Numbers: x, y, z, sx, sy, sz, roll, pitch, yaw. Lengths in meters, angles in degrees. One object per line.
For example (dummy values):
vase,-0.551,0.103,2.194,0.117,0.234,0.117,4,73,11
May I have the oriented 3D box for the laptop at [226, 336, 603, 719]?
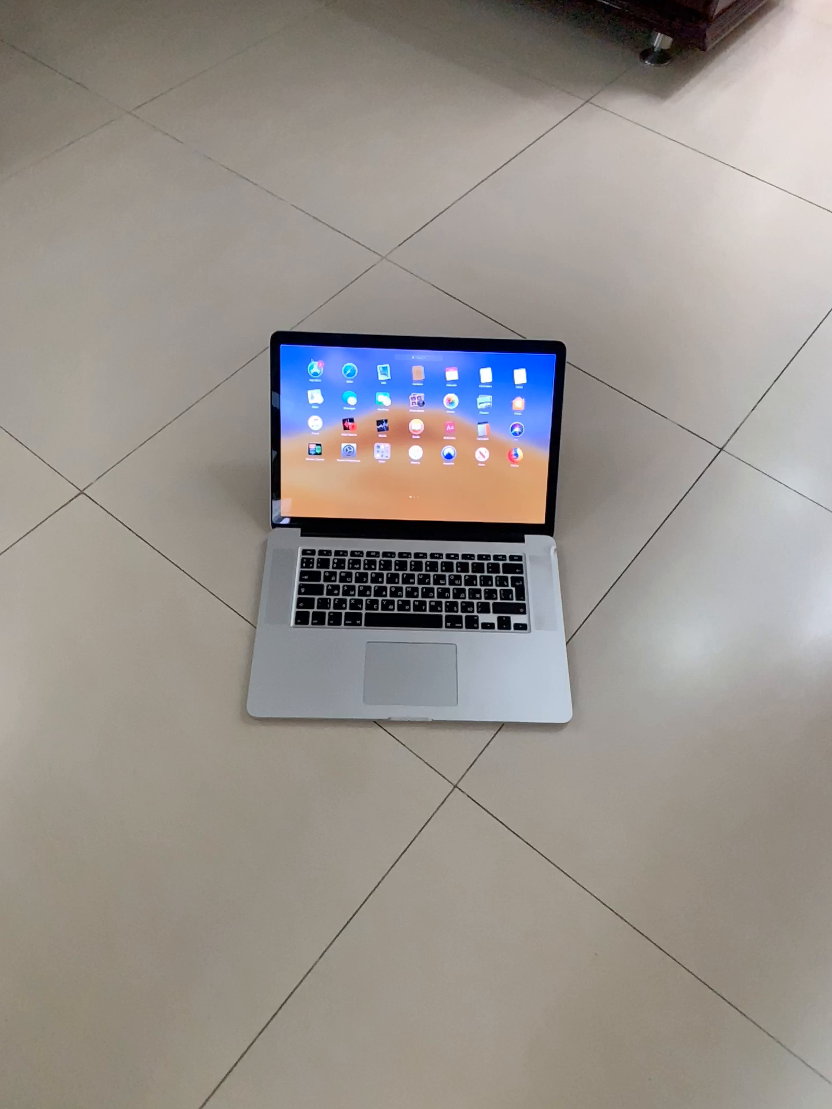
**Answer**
laptop,-0.002,-0.040,0.975,0.352,0.162,0.416,1,57,-2
